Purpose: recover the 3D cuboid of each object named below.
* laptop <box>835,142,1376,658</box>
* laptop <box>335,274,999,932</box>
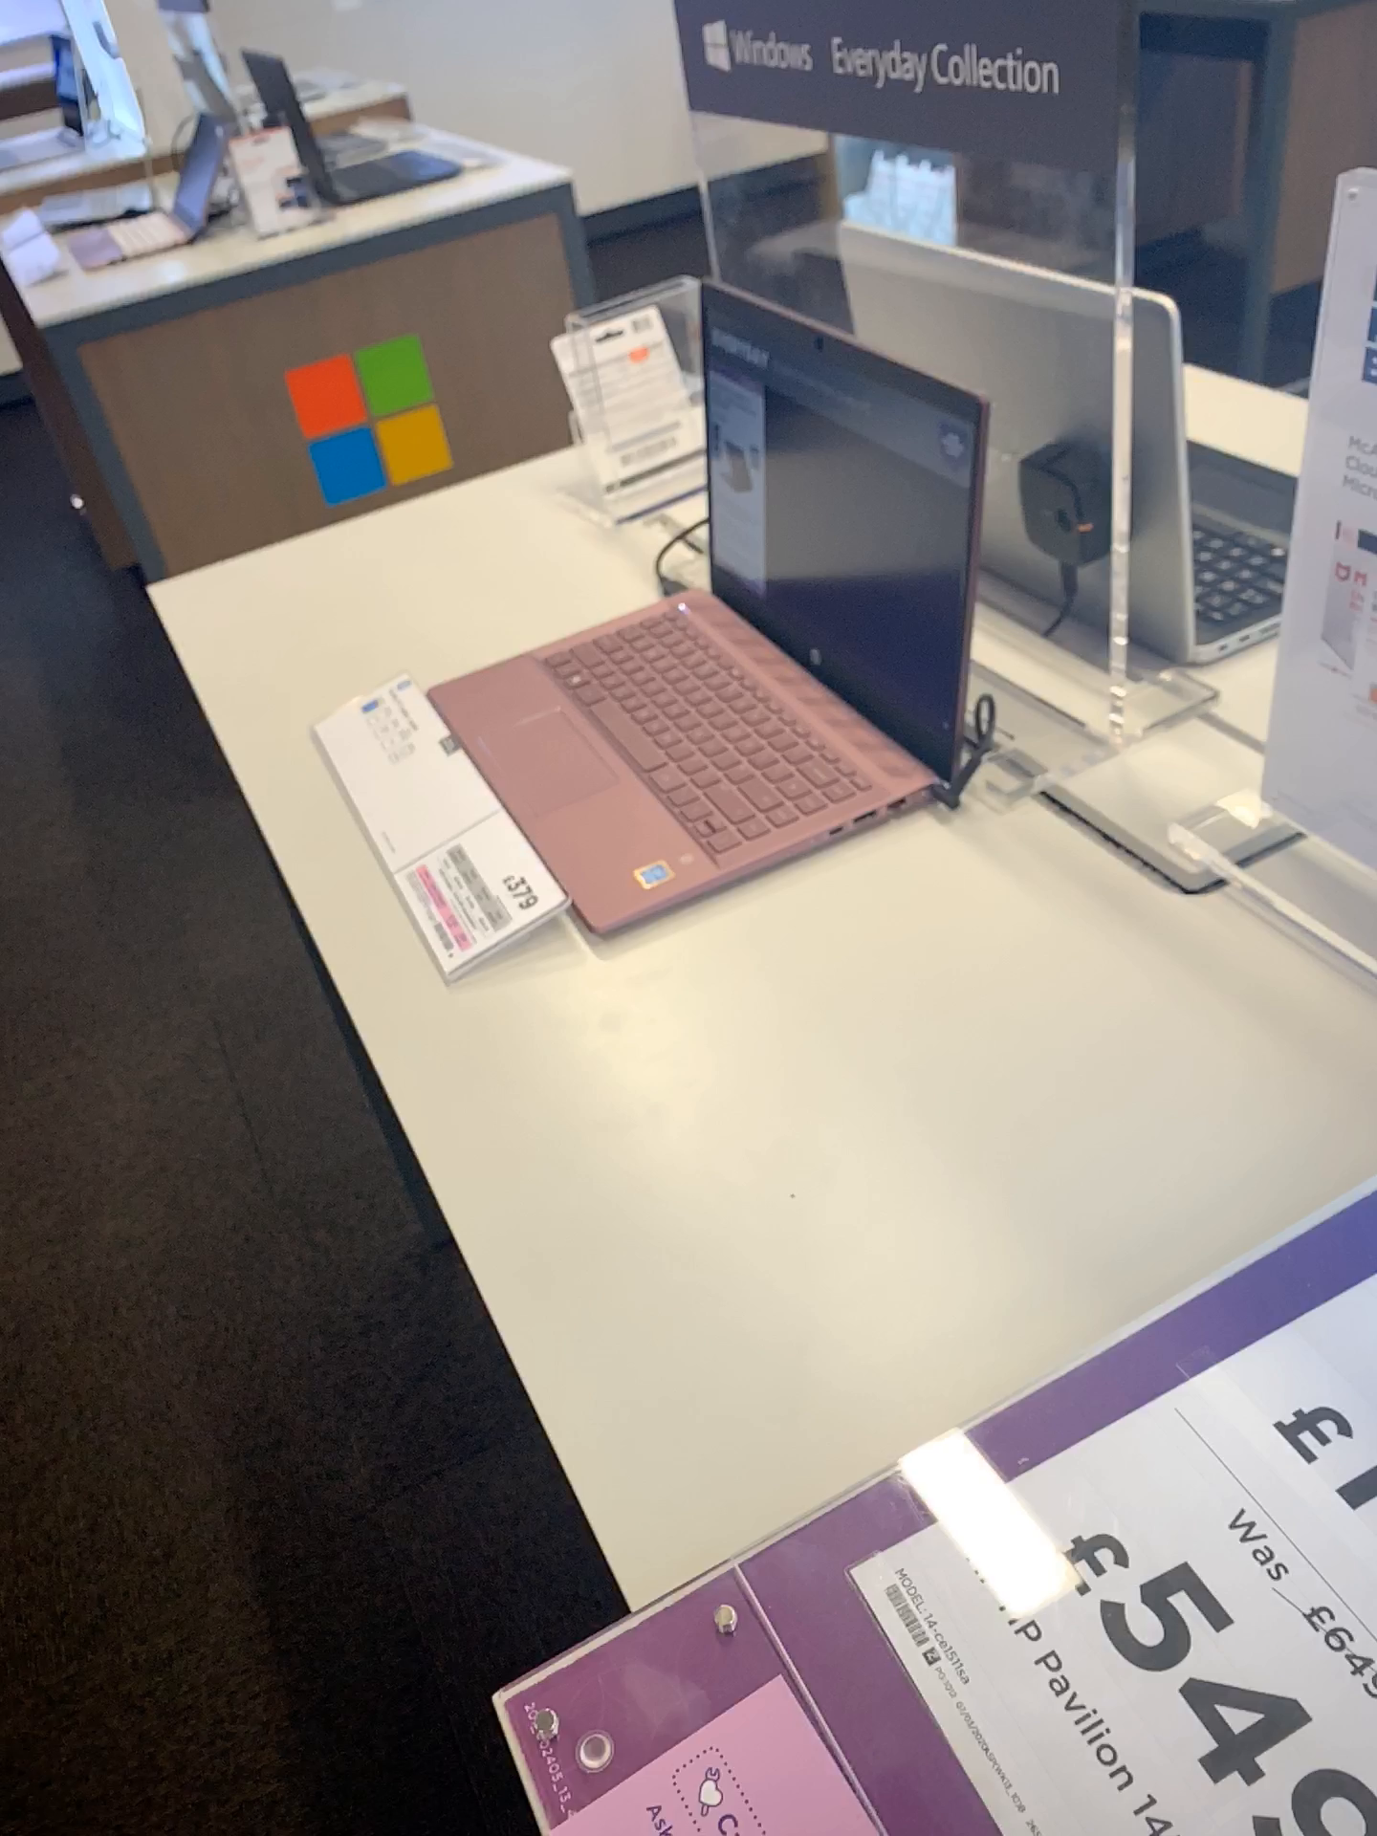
[{"bbox_3d":[0.288,-0.349,0.909,0.244,0.186,0.326,-23,39,-16],"label":"laptop"},{"bbox_3d":[-0.019,-0.200,0.814,0.249,0.200,0.314,-22,39,-13],"label":"laptop"}]
